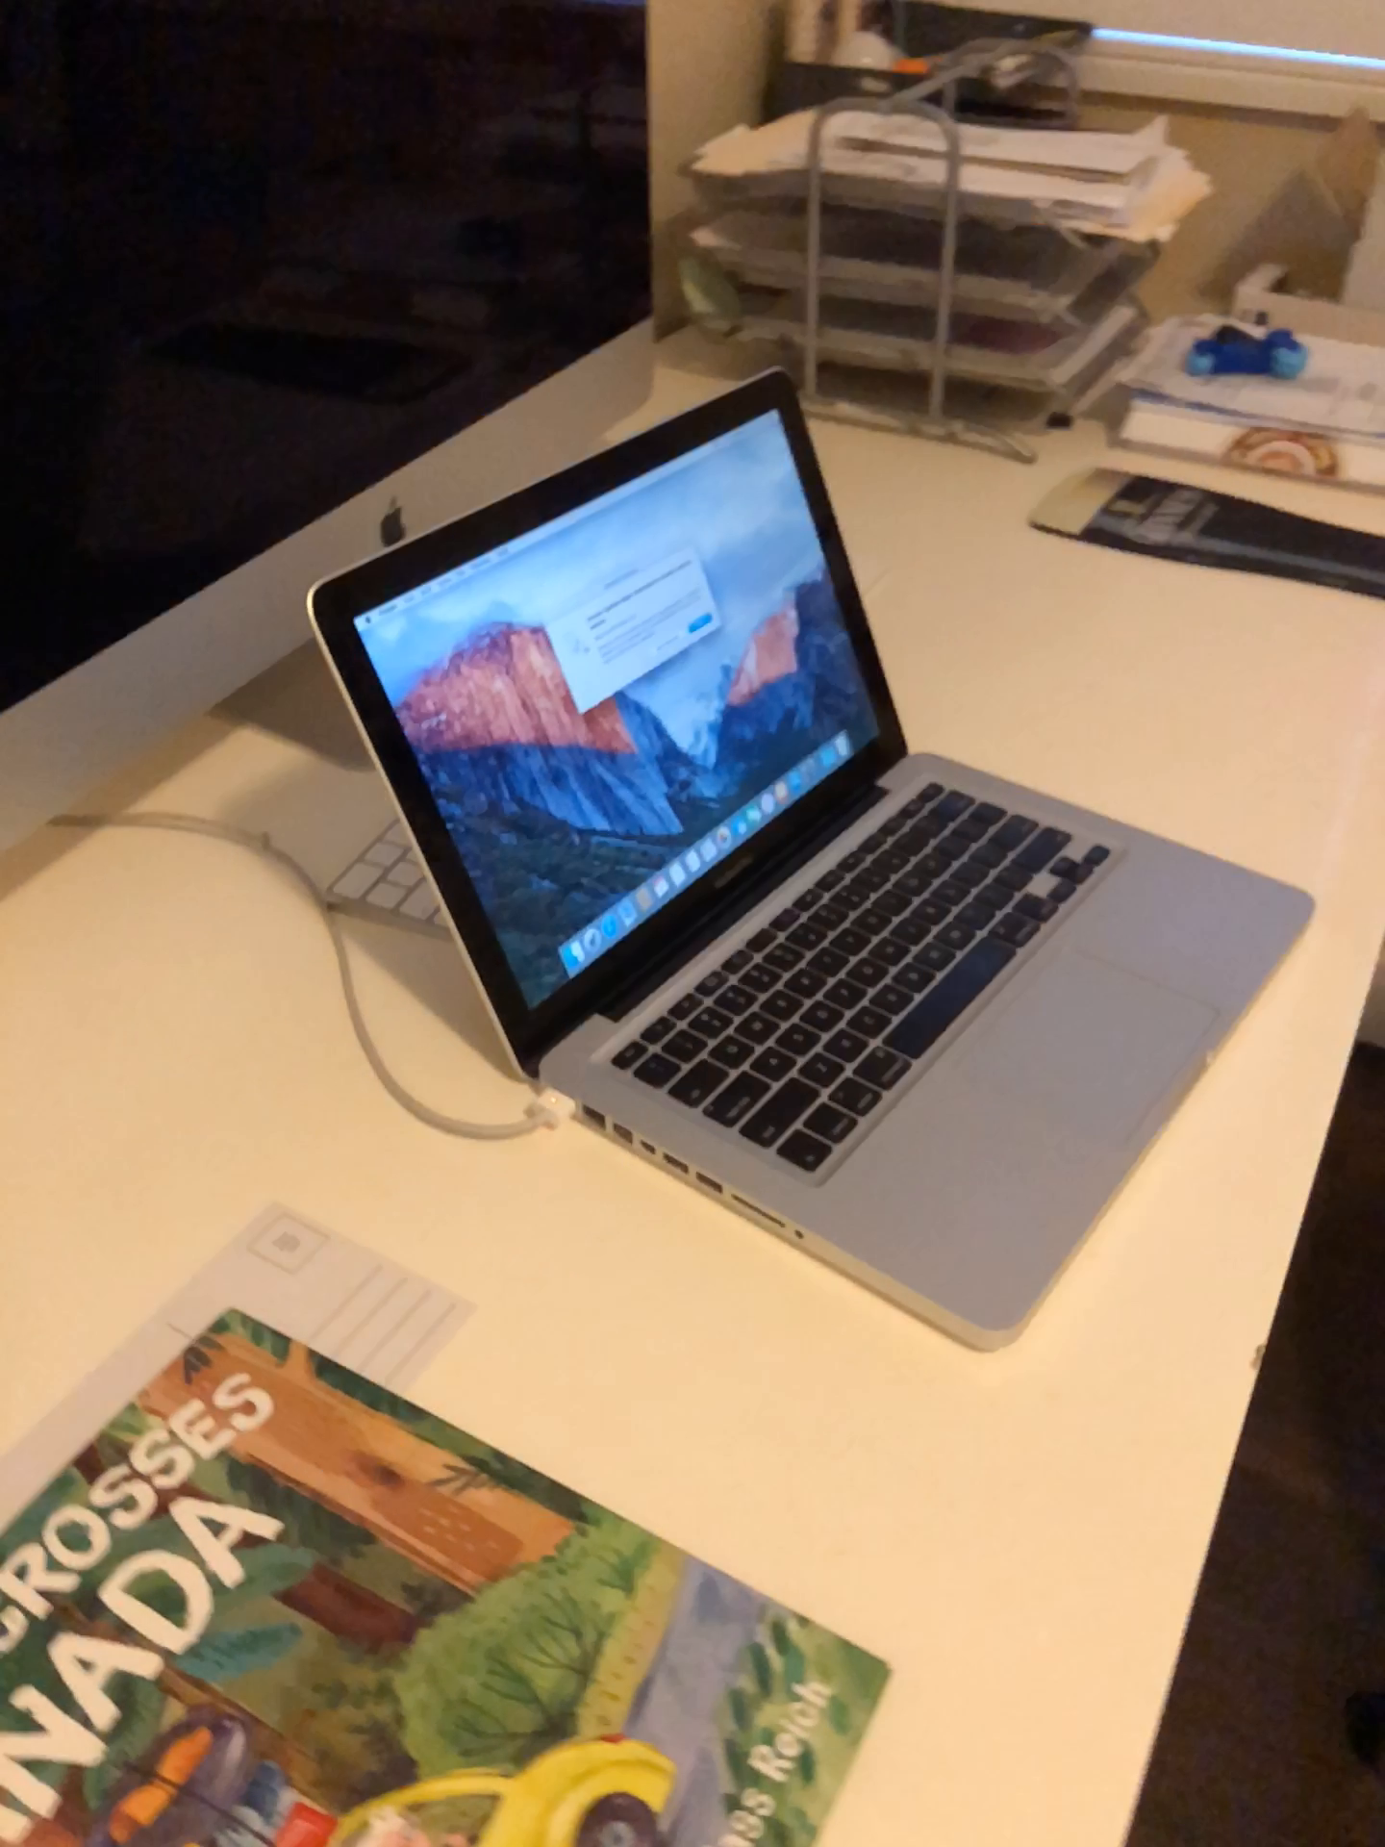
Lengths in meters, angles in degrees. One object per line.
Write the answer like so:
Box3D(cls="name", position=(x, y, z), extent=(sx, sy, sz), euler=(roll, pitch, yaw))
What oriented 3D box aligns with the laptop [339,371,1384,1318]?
Box3D(cls="laptop", position=(0.079, -0.068, 0.658), extent=(0.313, 0.187, 0.303), euler=(26, 45, 28))
